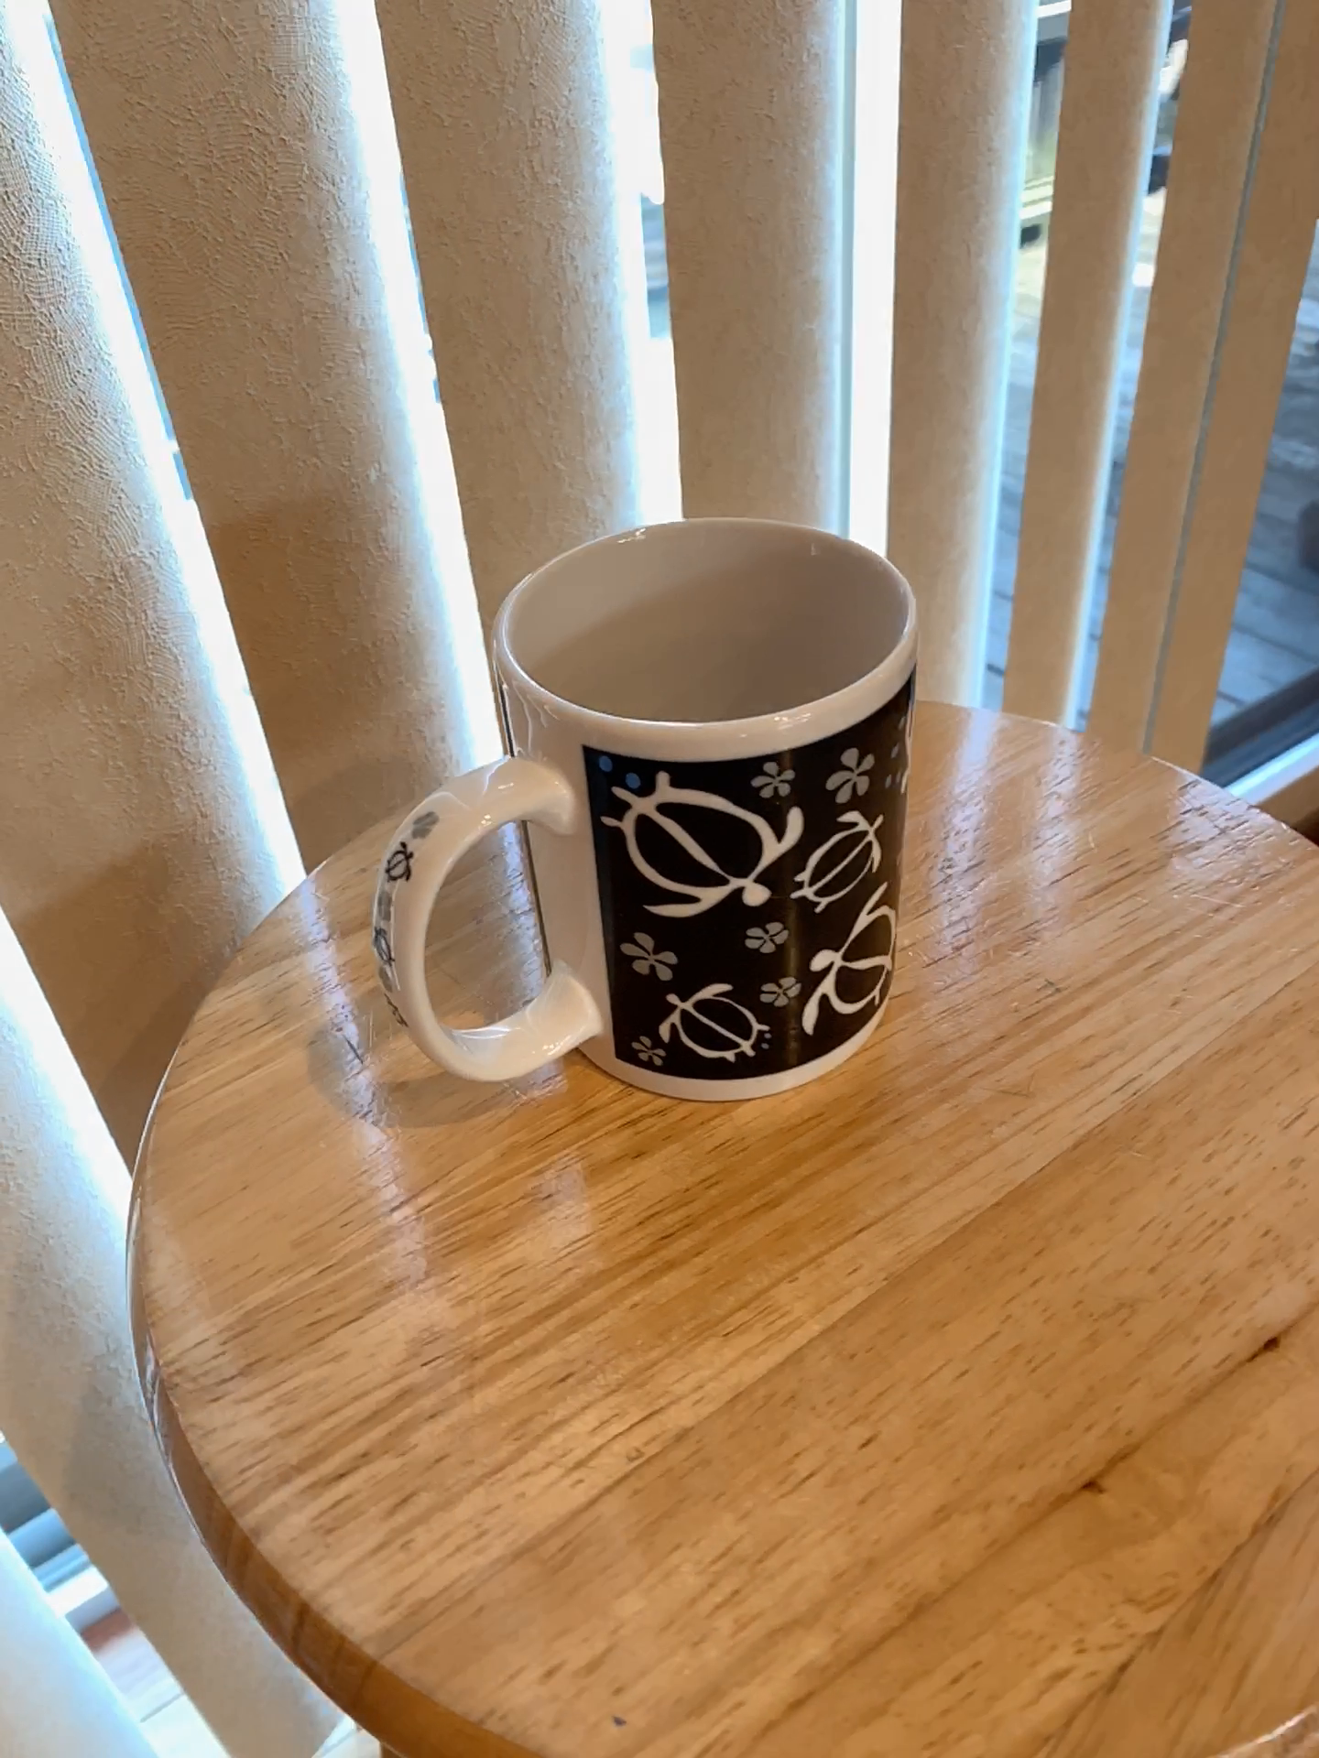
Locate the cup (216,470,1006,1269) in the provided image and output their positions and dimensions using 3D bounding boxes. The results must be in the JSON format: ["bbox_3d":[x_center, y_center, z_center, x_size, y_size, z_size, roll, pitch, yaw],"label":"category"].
[{"bbox_3d":[-0.008,-0.009,0.288,0.120,0.099,0.090,-24,43,-22],"label":"cup"}]
